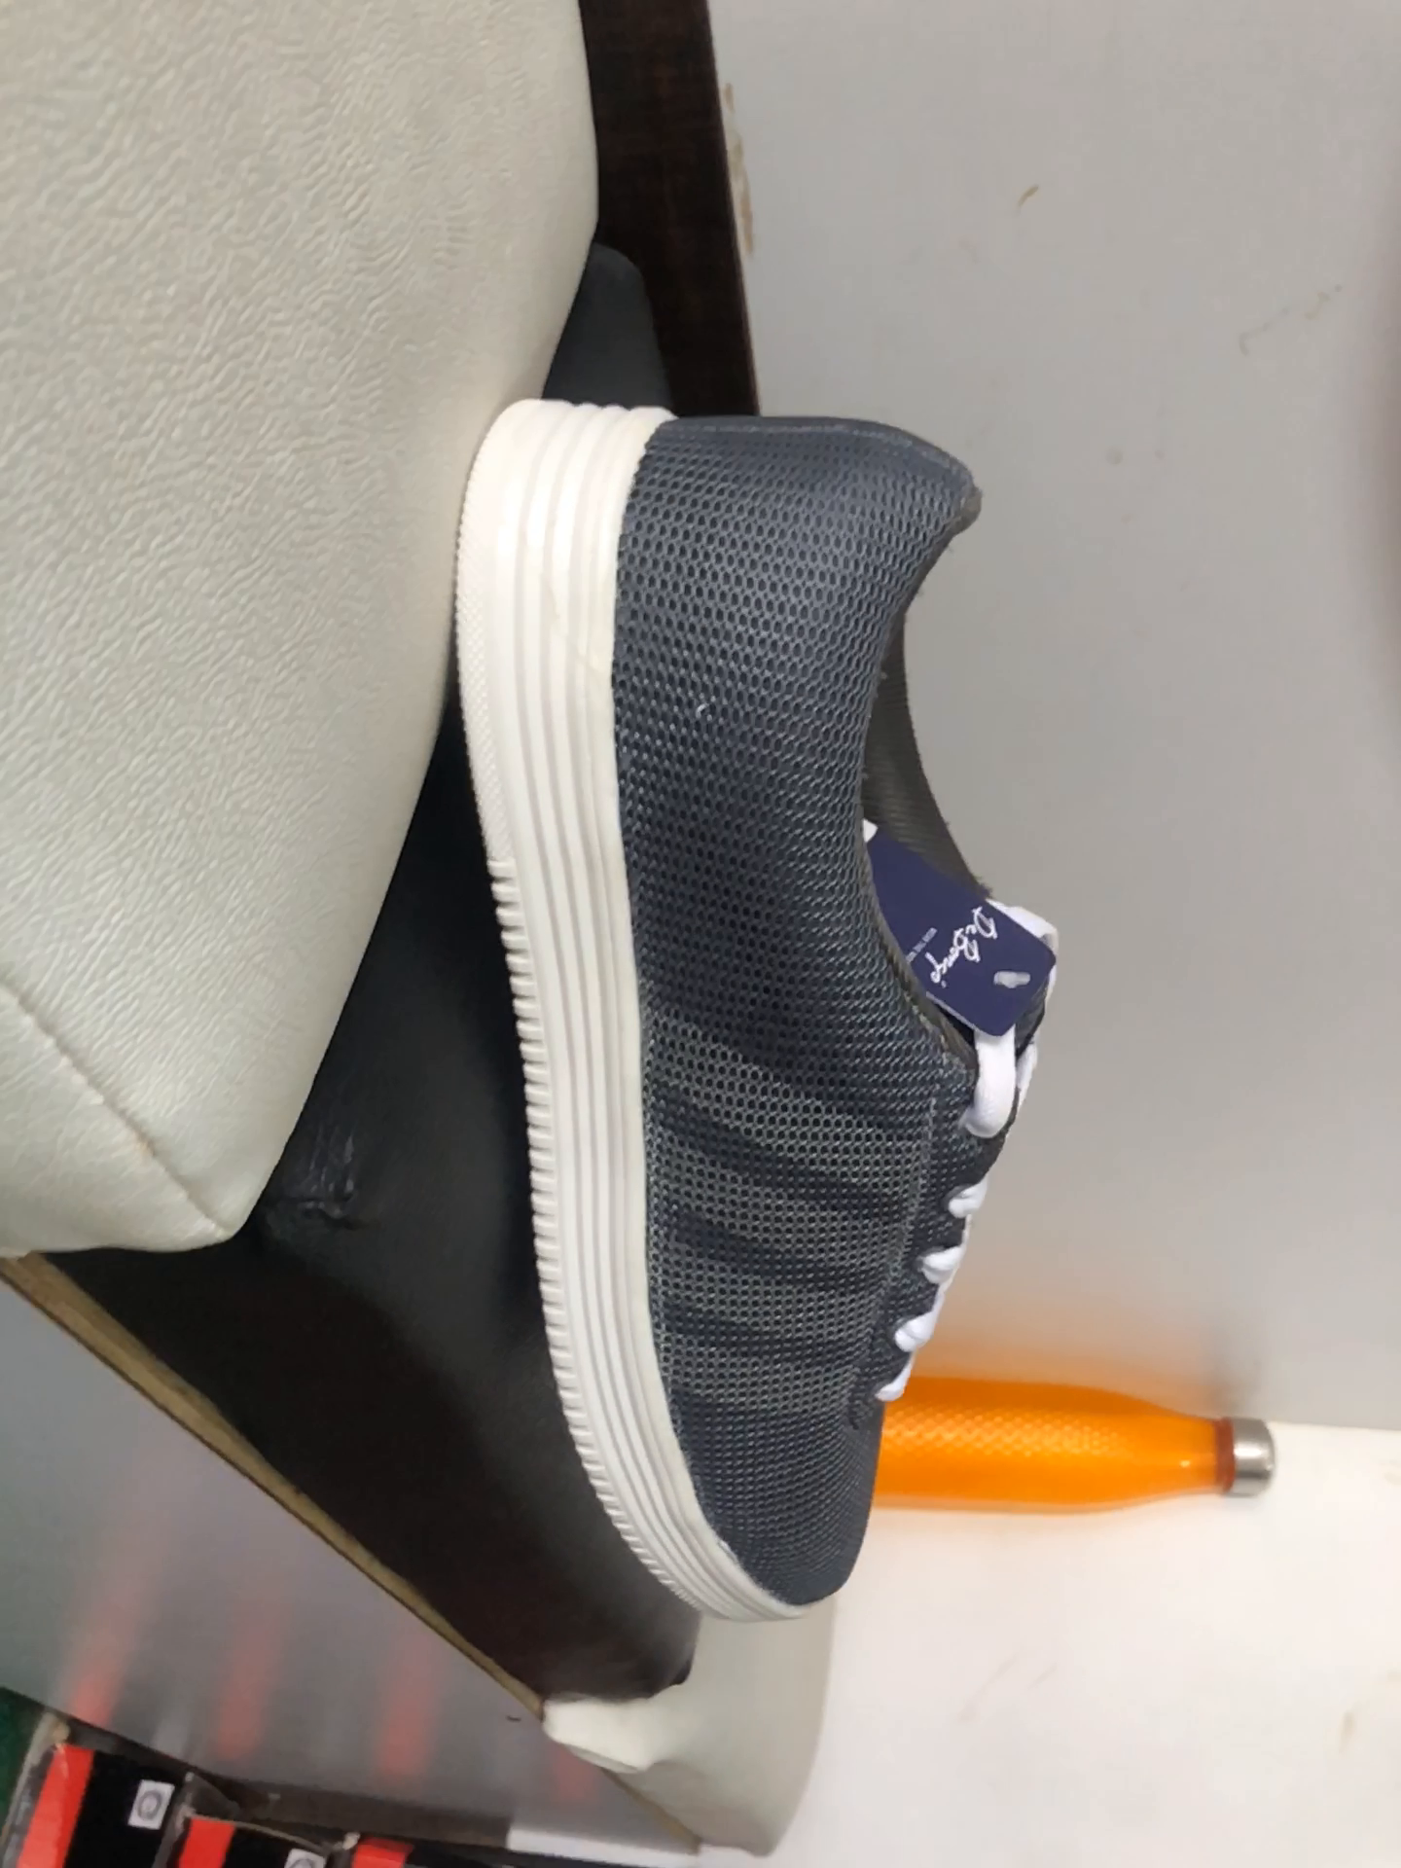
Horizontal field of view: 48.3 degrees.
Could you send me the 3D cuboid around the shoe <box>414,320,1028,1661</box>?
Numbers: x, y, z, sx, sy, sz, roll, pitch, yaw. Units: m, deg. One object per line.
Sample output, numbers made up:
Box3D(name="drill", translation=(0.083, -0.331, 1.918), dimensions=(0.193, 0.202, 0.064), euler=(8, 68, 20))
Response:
Box3D(name="shoe", translation=(0.021, 0.025, 0.367), dimensions=(0.100, 0.100, 0.301), euler=(-72, 160, -58))
